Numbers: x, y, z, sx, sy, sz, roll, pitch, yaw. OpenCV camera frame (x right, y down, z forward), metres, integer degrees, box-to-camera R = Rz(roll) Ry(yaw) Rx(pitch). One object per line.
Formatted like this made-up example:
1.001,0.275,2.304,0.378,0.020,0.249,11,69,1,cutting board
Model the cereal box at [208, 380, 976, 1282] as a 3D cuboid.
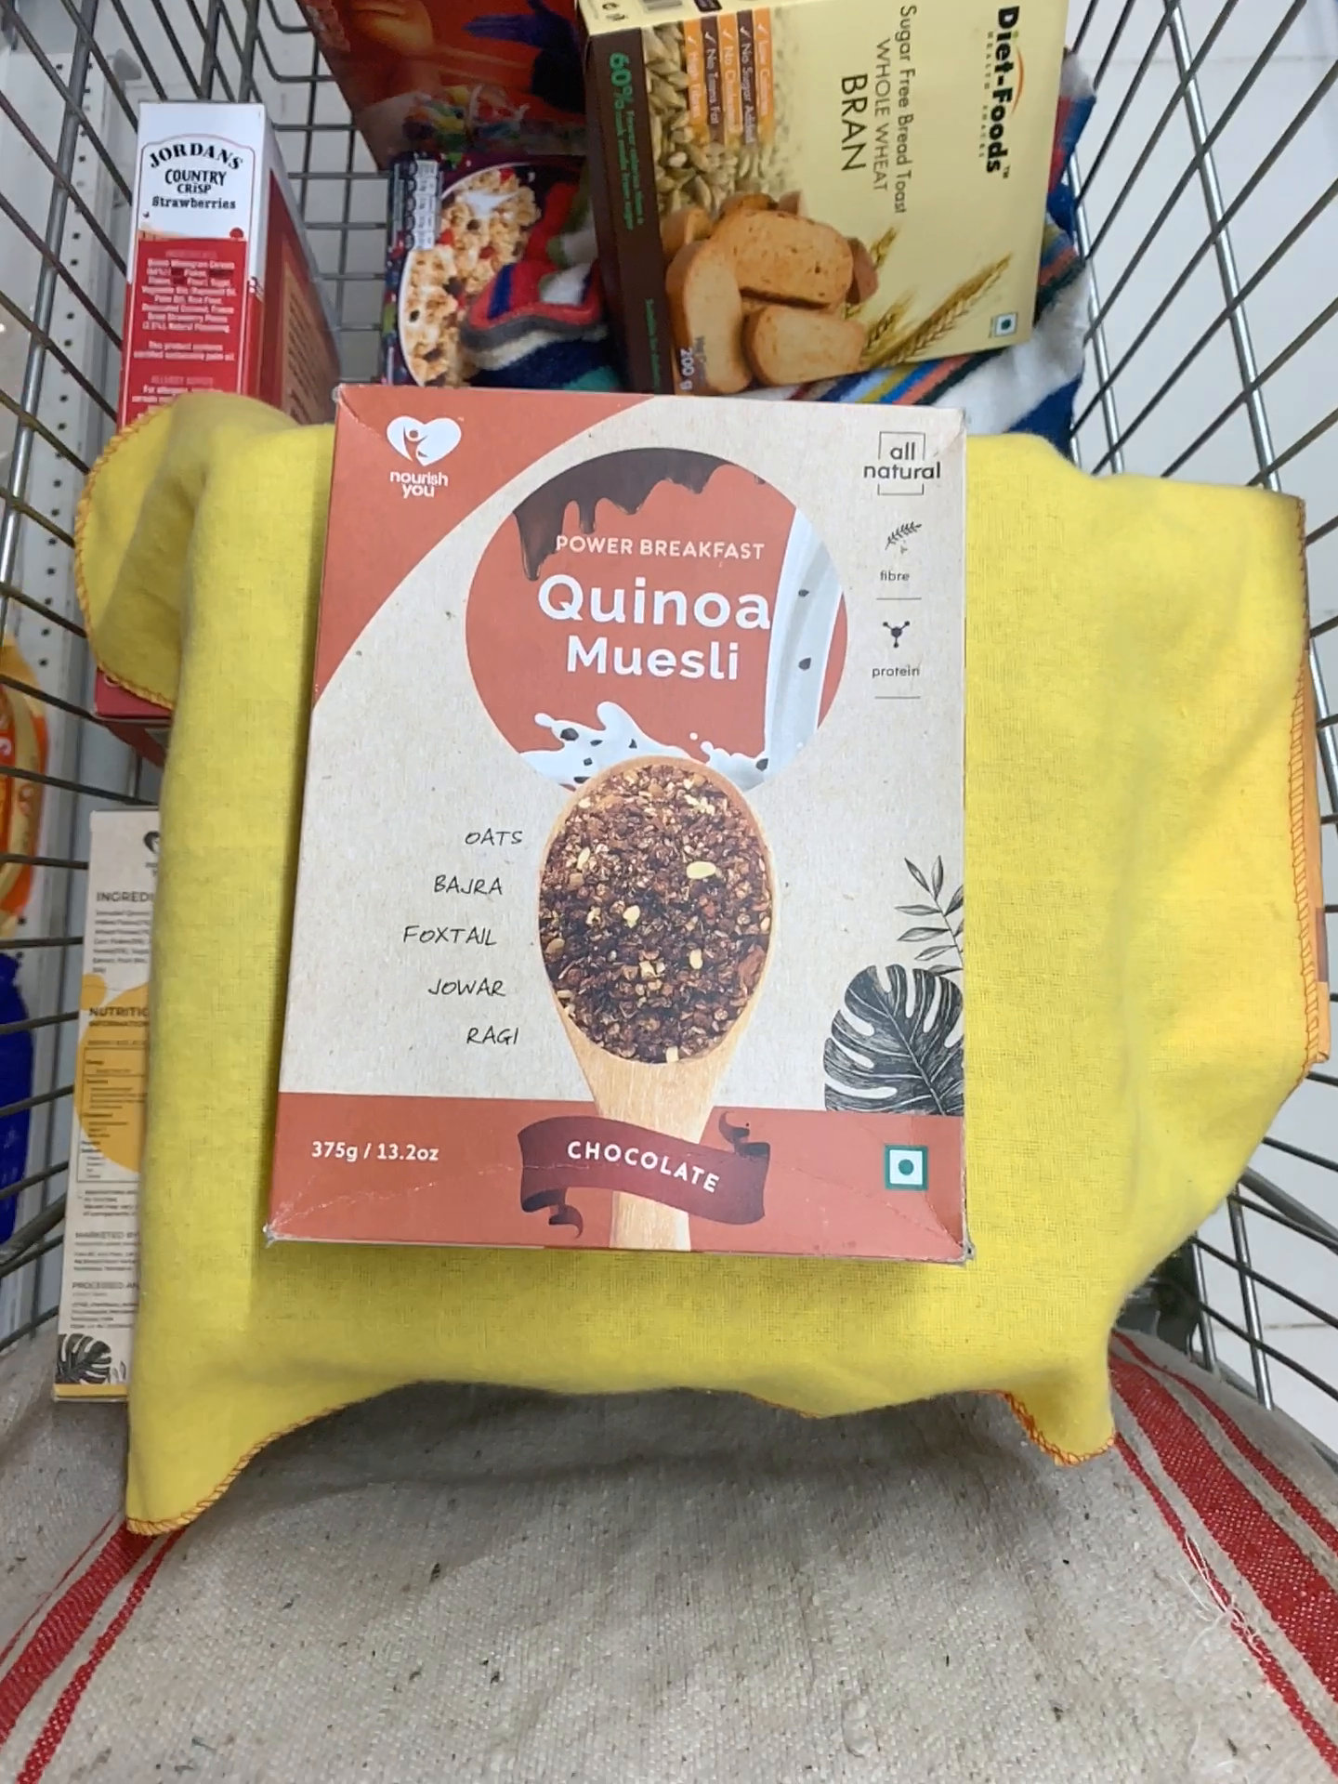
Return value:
-0.014,-0.015,0.351,0.170,0.060,0.210,2,80,1,cereal box
